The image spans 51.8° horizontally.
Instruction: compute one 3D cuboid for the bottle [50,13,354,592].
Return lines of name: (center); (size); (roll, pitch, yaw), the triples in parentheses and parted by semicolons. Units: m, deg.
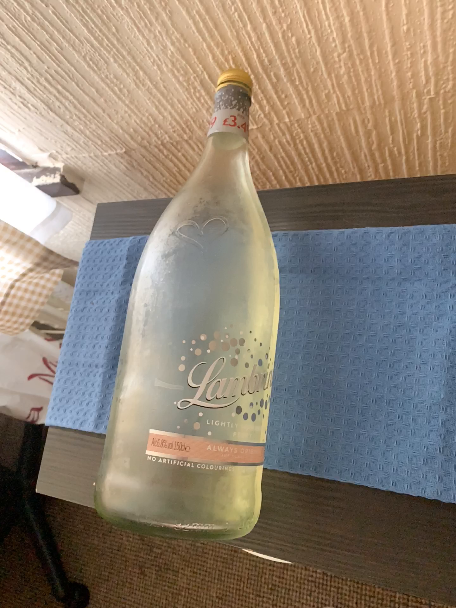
bottle: (-0.006, -0.005, 0.330); (0.110, 0.119, 0.321); (-4, 72, 45)
